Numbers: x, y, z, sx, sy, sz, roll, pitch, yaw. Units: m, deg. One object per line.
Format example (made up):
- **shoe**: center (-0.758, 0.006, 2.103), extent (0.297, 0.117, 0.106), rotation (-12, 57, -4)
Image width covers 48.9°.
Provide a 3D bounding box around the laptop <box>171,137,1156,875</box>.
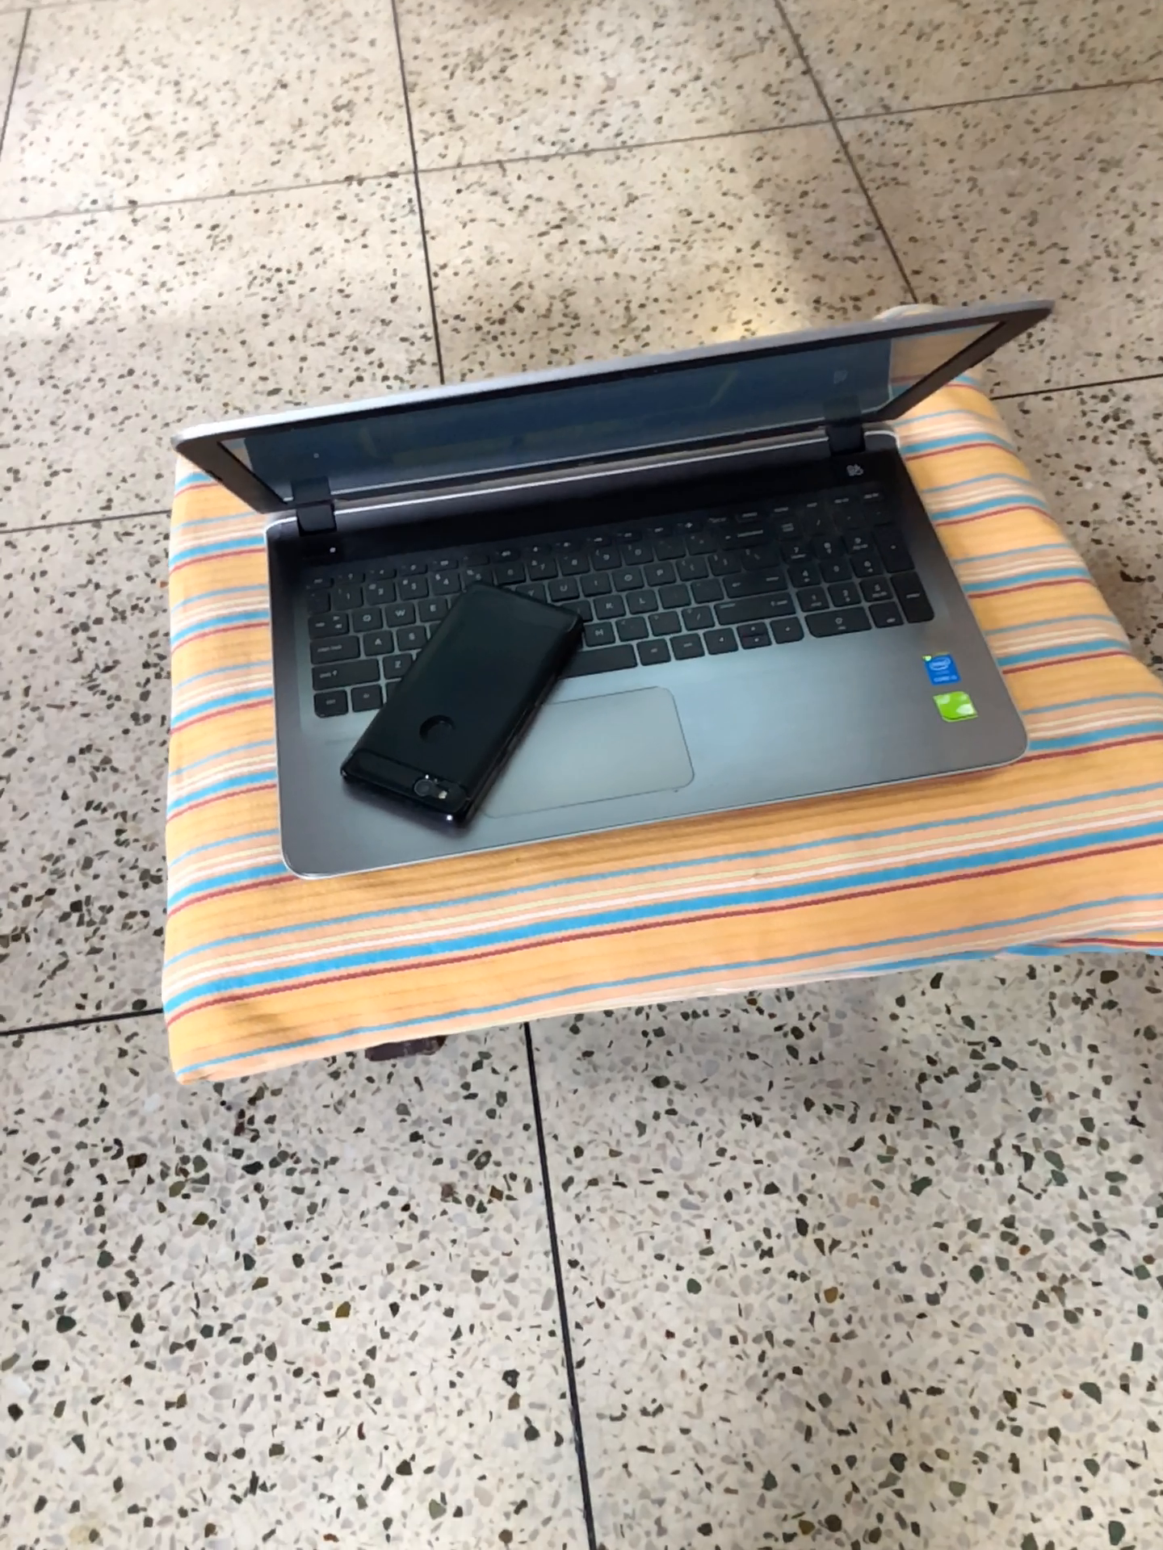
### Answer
- **laptop**: center (0.019, -0.130, 0.615), extent (0.371, 0.184, 0.237), rotation (-10, 56, -4)
